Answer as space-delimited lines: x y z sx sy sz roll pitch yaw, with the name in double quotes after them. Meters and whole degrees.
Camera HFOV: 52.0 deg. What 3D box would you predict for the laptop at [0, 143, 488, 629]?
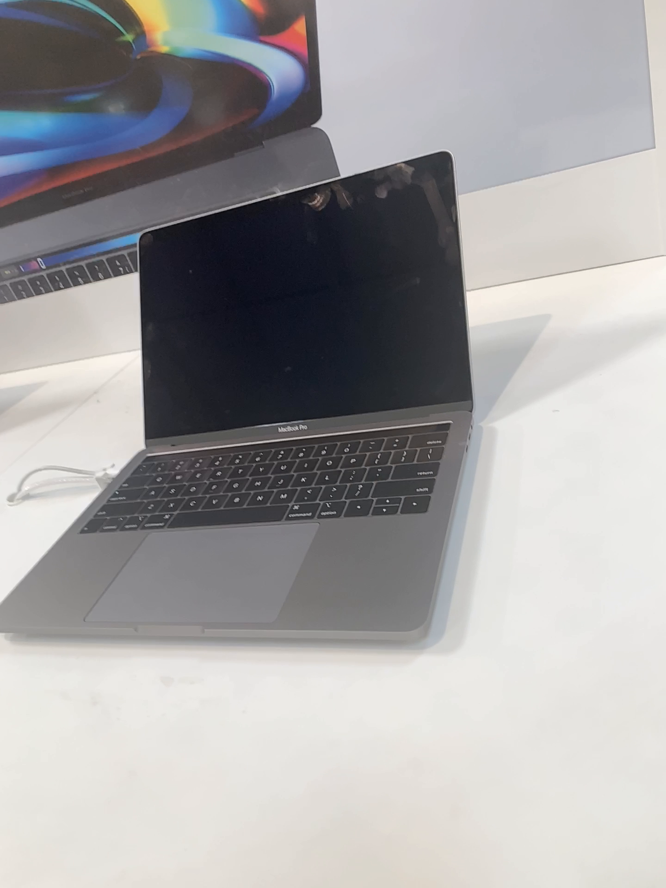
-0.068 -0.052 0.465 0.285 0.150 0.316 -6 32 23 "laptop"
